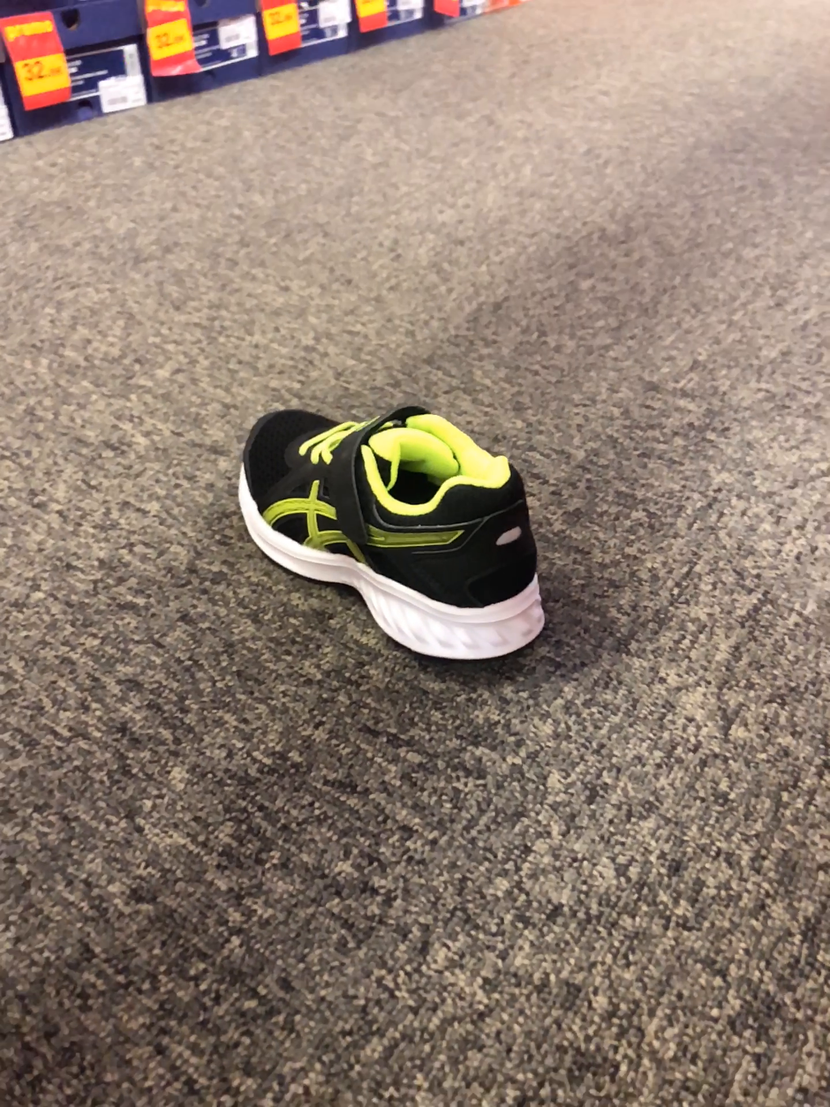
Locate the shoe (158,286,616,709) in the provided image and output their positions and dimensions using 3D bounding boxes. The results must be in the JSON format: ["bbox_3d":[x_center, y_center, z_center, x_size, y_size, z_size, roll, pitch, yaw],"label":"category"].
[{"bbox_3d":[-0.021,-0.038,0.419,0.090,0.080,0.200,-28,50,-31],"label":"shoe"}]
